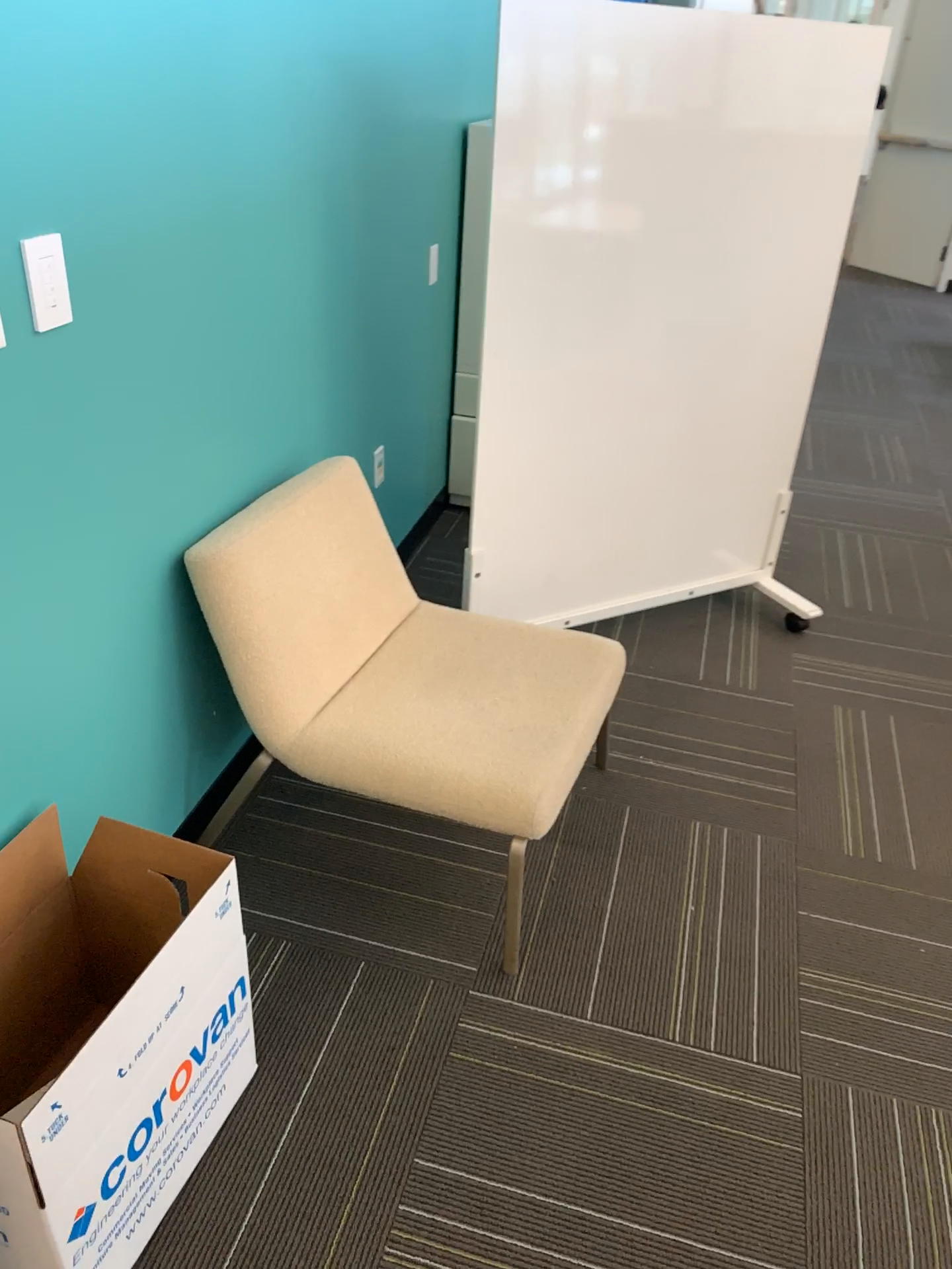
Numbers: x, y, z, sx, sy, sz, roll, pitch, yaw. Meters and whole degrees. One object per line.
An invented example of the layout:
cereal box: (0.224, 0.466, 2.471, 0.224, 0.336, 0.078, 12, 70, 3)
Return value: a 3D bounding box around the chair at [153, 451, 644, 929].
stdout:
chair: (-0.119, 0.060, 2.007, 0.731, 0.567, 0.663, 13, 32, 15)
